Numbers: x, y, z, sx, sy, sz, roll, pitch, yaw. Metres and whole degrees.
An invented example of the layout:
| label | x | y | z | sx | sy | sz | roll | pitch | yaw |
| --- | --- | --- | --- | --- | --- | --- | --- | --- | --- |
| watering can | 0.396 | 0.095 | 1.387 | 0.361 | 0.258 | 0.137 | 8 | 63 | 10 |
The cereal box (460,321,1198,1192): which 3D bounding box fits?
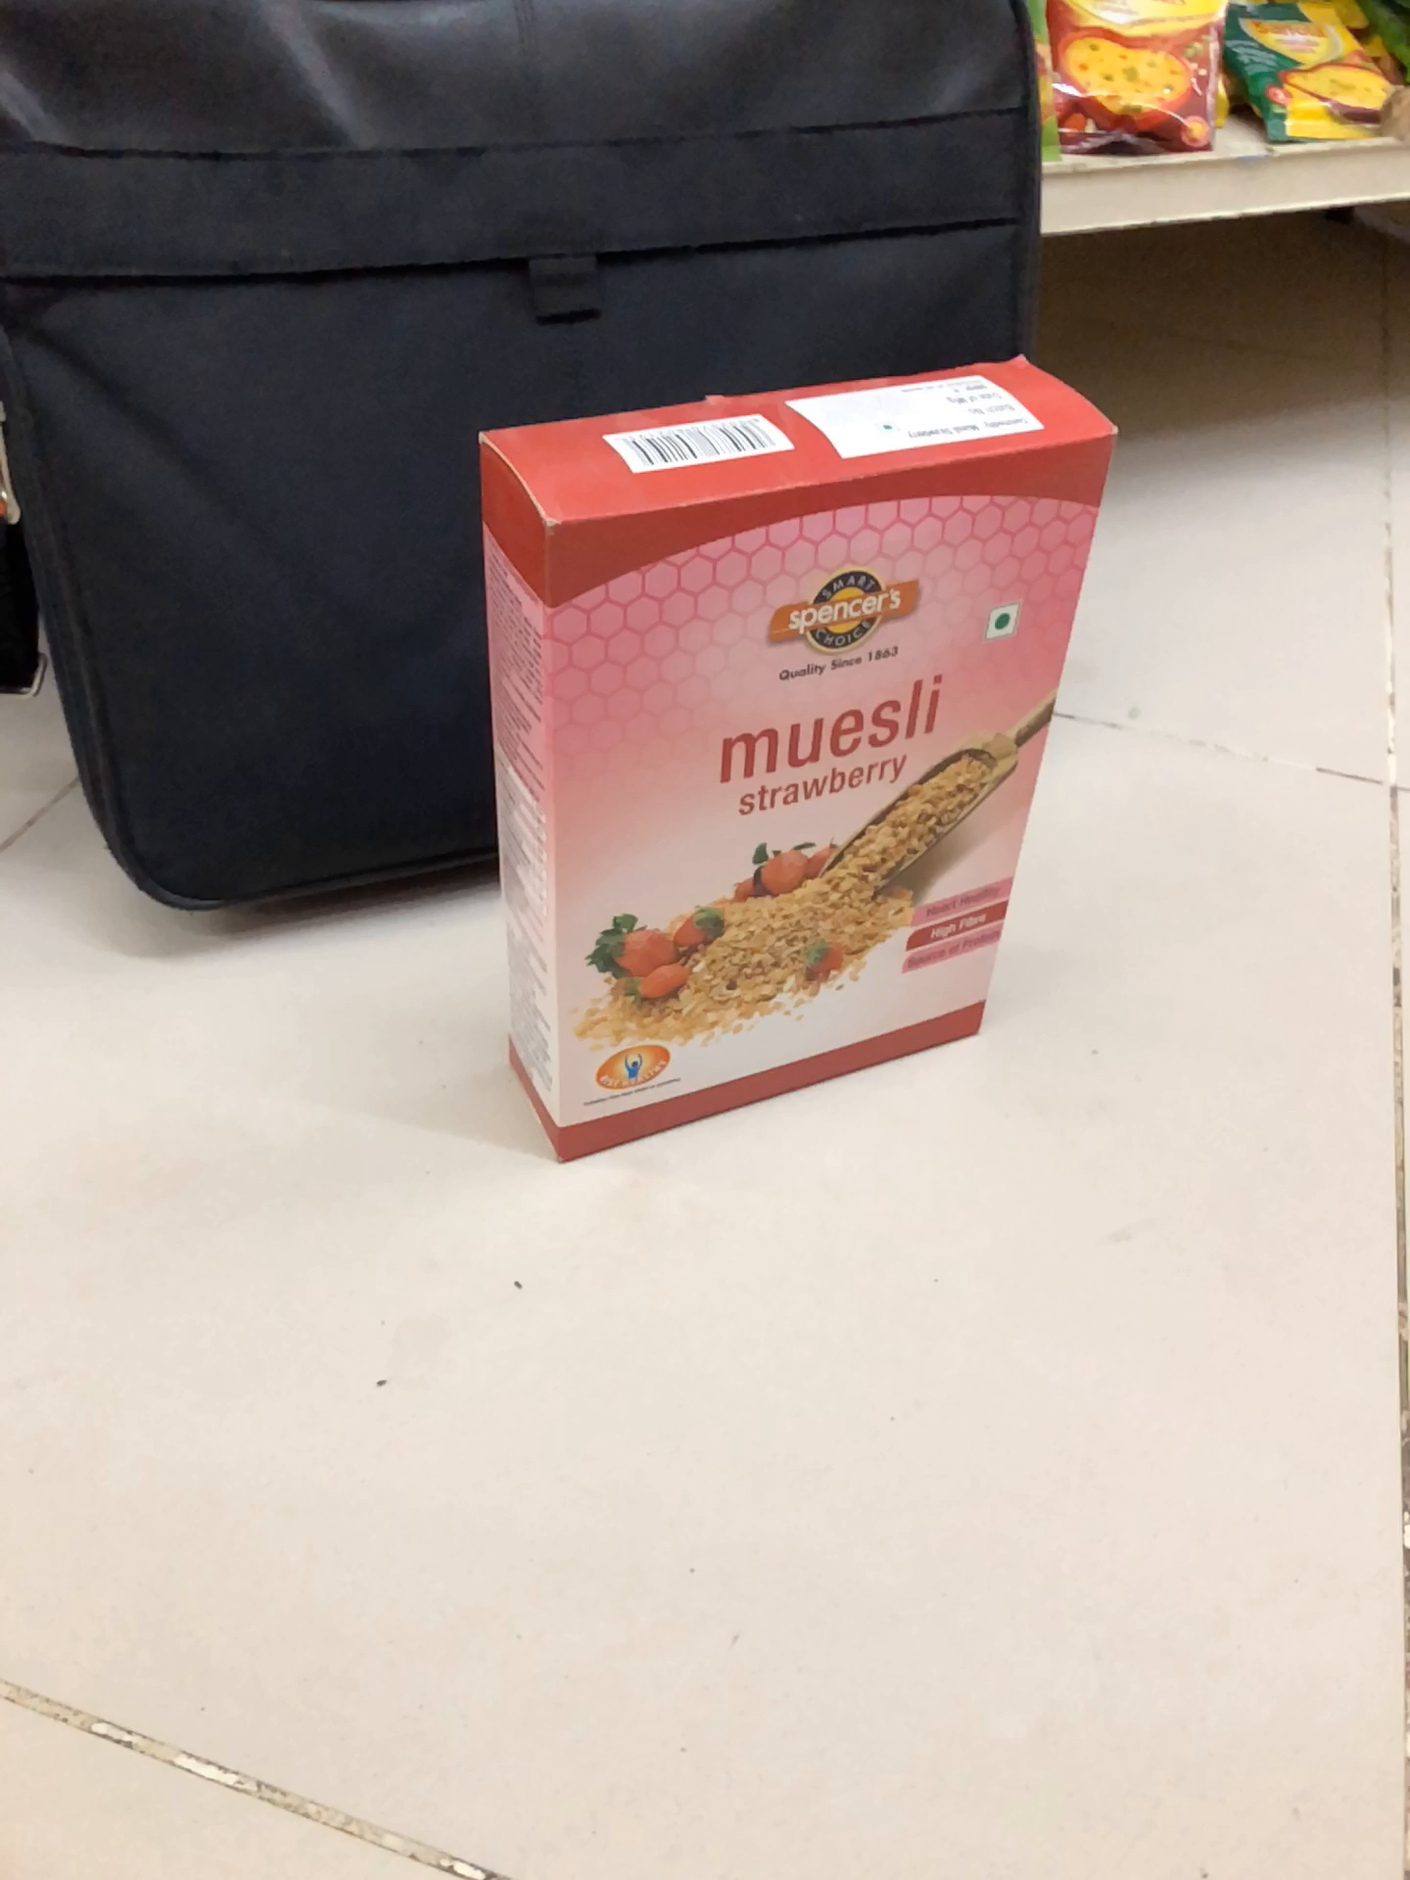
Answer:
| label | x | y | z | sx | sy | sz | roll | pitch | yaw |
| --- | --- | --- | --- | --- | --- | --- | --- | --- | --- |
| cereal box | 0.033 | -0.053 | 0.515 | 0.201 | 0.258 | 0.060 | -15 | 44 | -20 |
